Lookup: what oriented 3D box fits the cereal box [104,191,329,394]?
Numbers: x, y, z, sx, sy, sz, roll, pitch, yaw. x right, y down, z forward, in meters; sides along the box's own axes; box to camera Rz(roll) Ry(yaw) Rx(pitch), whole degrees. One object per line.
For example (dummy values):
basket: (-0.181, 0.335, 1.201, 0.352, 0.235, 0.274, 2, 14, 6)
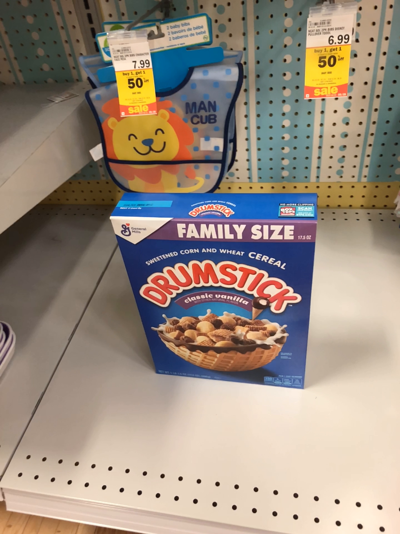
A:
cereal box: (0.035, 0.044, 0.603, 0.250, 0.299, 0.070, 2, 41, 13)
